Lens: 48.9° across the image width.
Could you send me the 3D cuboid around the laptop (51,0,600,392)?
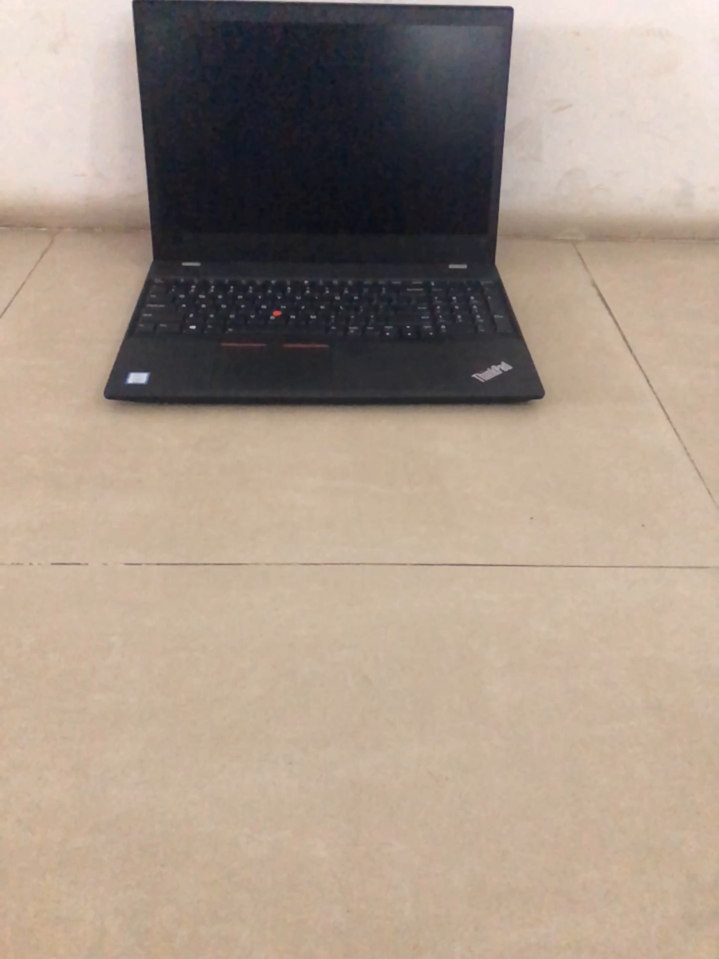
[{"bbox_3d":[-0.028,-0.263,0.696,0.351,0.214,0.329,0,41,-3],"label":"laptop"}]
